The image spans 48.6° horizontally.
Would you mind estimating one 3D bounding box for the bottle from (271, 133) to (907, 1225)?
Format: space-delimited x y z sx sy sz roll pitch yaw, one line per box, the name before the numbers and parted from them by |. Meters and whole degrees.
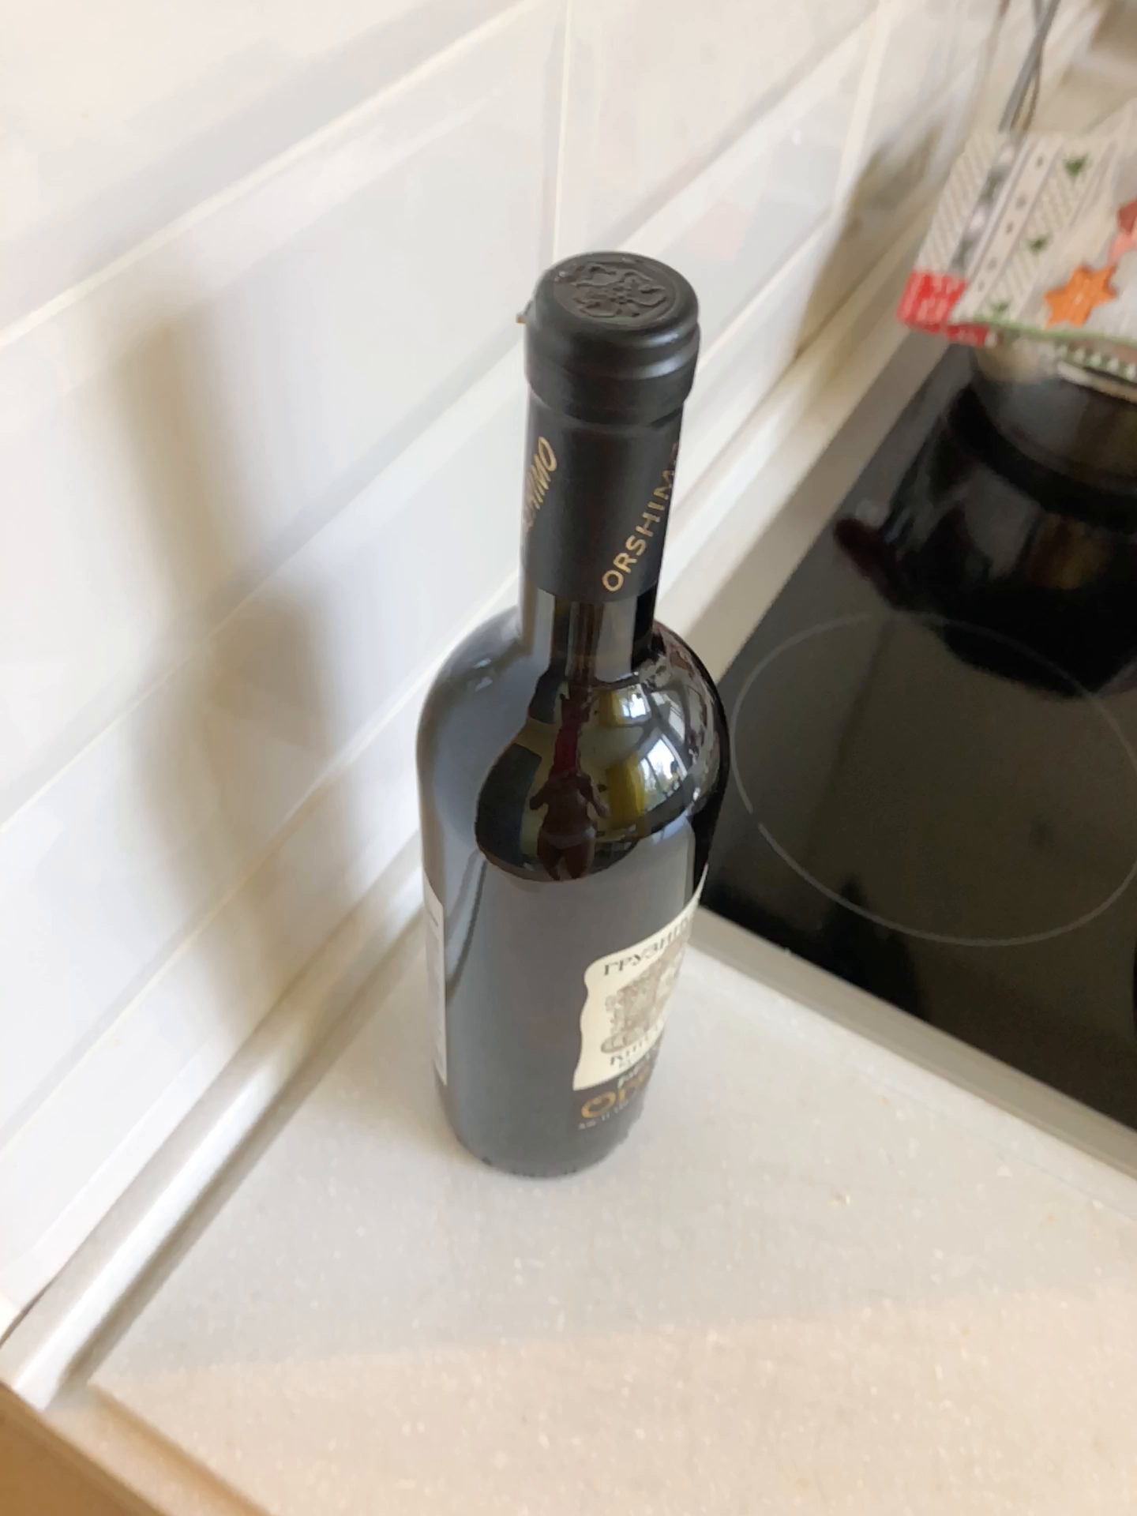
bottle | -0.001 0.016 0.324 0.080 0.298 0.081 2 51 -3
